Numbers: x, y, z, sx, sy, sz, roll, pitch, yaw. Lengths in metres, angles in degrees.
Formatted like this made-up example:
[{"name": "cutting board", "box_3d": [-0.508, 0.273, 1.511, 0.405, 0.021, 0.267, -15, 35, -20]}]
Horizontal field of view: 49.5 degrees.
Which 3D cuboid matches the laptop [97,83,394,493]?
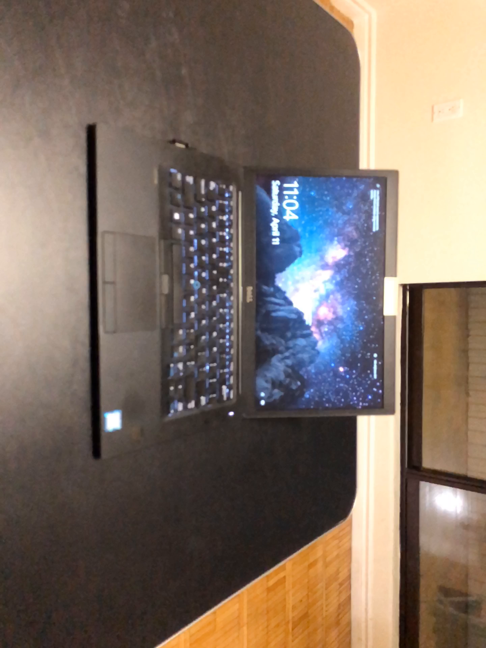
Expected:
[{"name": "laptop", "box_3d": [0.032, -0.034, 0.601, 0.370, 0.140, 0.319, -4, 94, -52]}]
